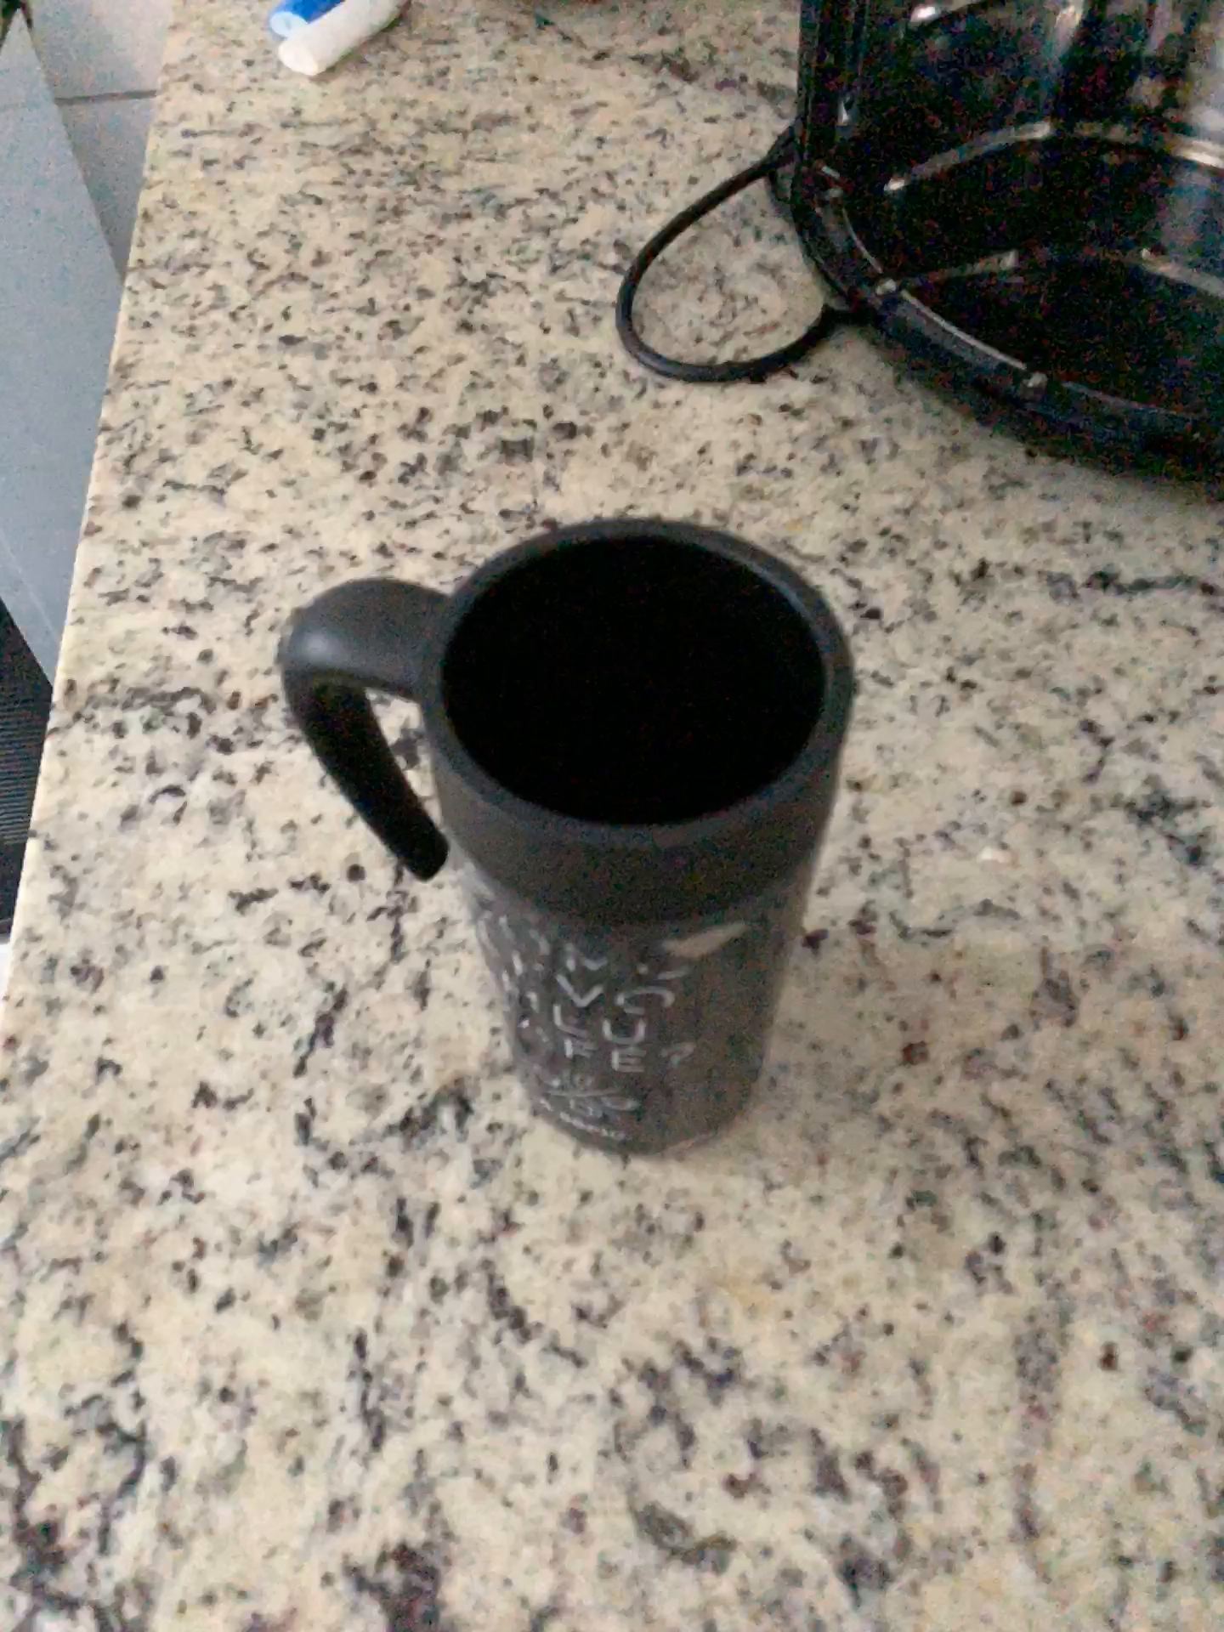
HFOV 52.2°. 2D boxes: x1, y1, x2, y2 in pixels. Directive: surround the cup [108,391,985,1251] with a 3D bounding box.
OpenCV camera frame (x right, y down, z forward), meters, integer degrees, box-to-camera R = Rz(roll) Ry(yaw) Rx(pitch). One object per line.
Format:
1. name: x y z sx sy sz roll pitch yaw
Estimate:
1. cup: -0.007 0.008 0.260 0.120 0.140 0.080 20 58 14
